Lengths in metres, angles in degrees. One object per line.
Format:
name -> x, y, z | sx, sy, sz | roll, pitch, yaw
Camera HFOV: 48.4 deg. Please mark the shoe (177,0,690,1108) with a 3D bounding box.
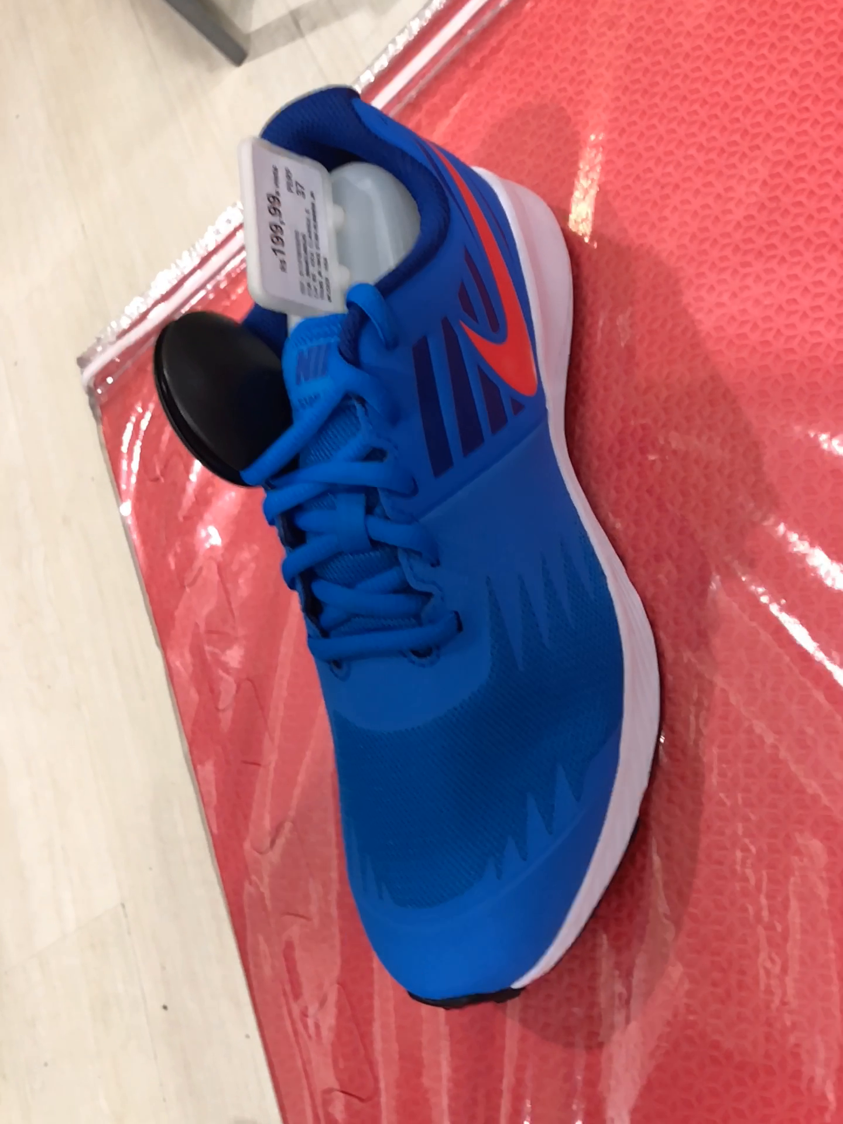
shoe -> 0.008, -0.012, 0.286 | 0.100, 0.100, 0.280 | -8, 73, 31
